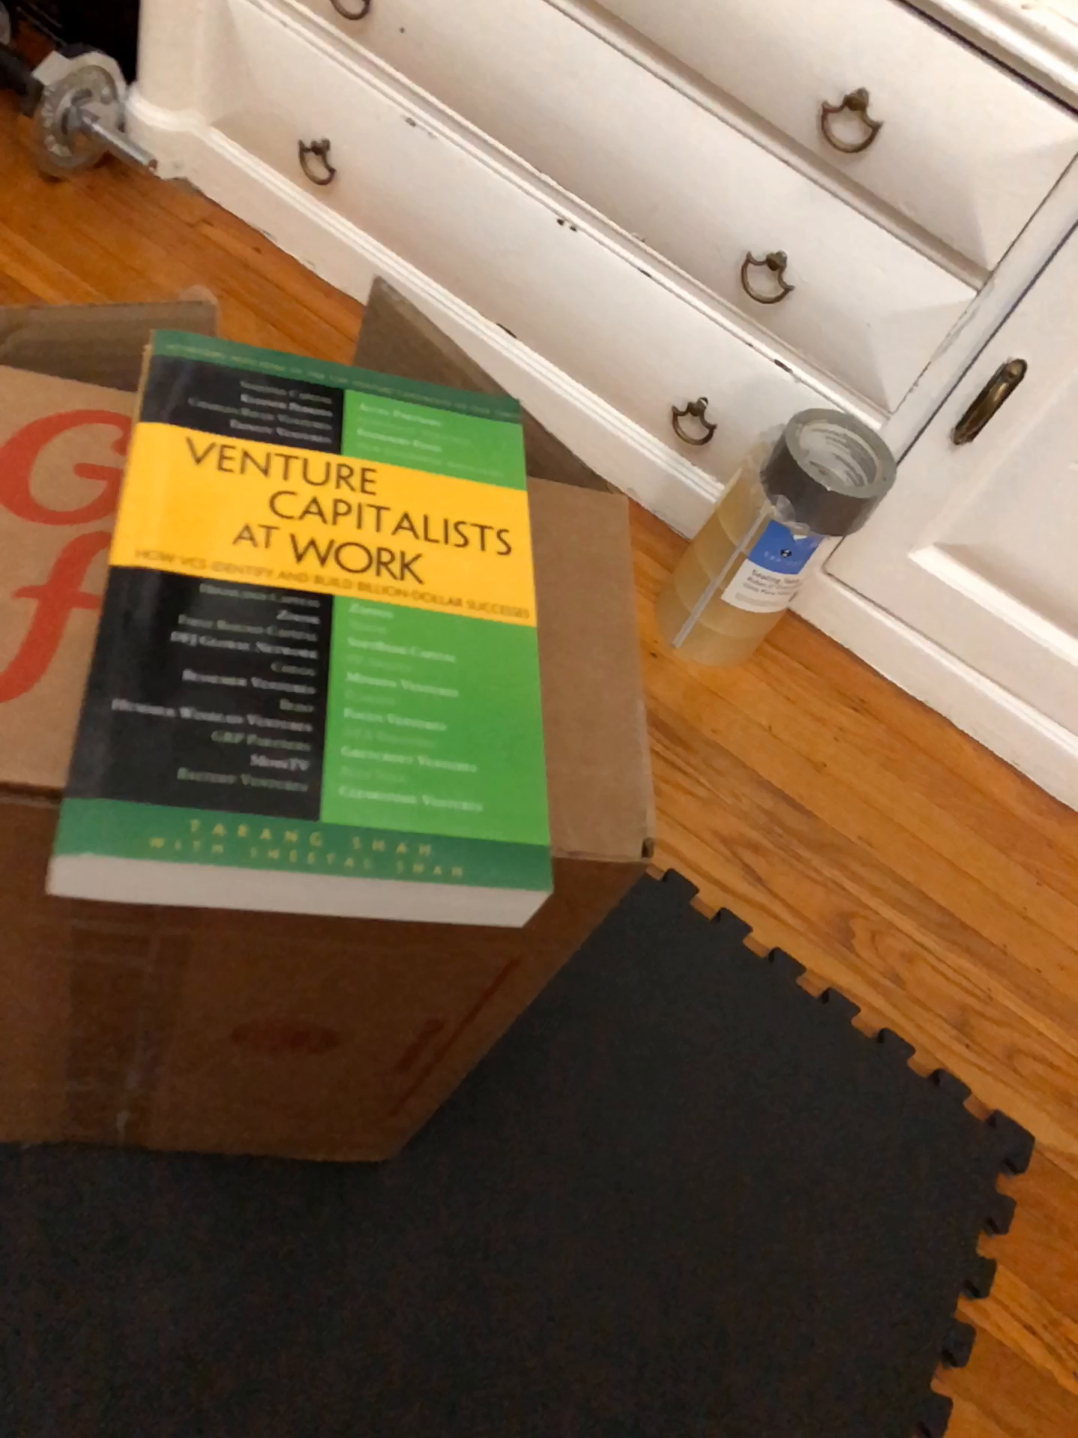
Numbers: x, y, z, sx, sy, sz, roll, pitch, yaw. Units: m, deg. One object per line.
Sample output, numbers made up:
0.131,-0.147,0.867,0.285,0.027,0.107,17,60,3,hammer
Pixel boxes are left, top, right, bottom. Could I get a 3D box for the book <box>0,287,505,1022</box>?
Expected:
-0.100,-0.032,0.406,0.160,0.040,0.261,7,56,-16,book
